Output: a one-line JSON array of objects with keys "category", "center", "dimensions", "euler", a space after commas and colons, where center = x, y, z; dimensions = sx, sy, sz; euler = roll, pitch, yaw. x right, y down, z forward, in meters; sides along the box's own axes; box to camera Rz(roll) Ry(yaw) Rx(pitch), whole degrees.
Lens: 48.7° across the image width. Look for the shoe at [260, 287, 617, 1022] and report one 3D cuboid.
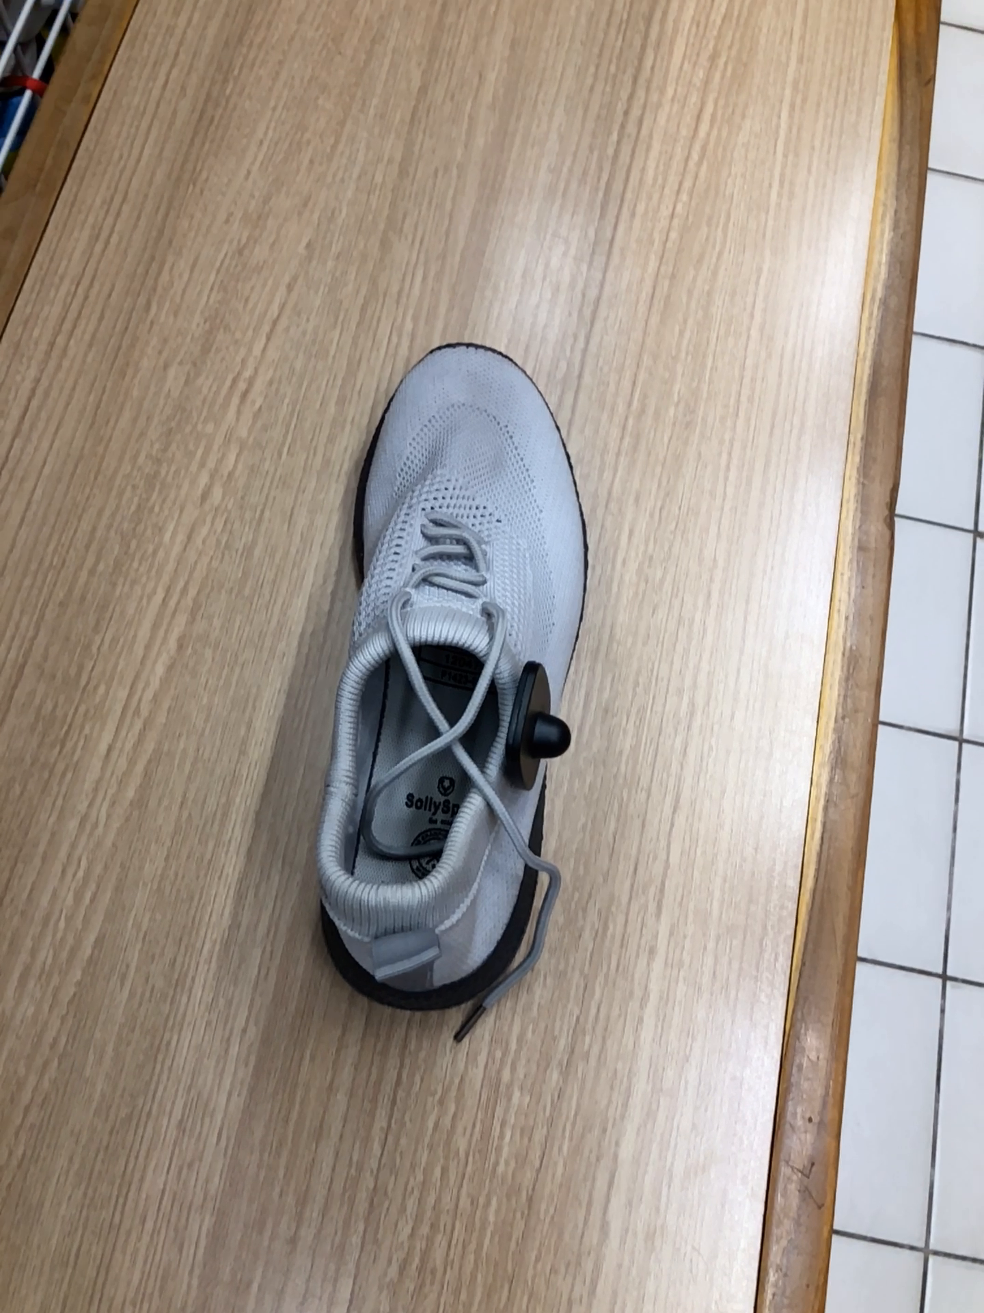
[{"category": "shoe", "center": [-0.016, 0.001, 0.442], "dimensions": [0.100, 0.100, 0.271], "euler": [7, 71, -3]}]
